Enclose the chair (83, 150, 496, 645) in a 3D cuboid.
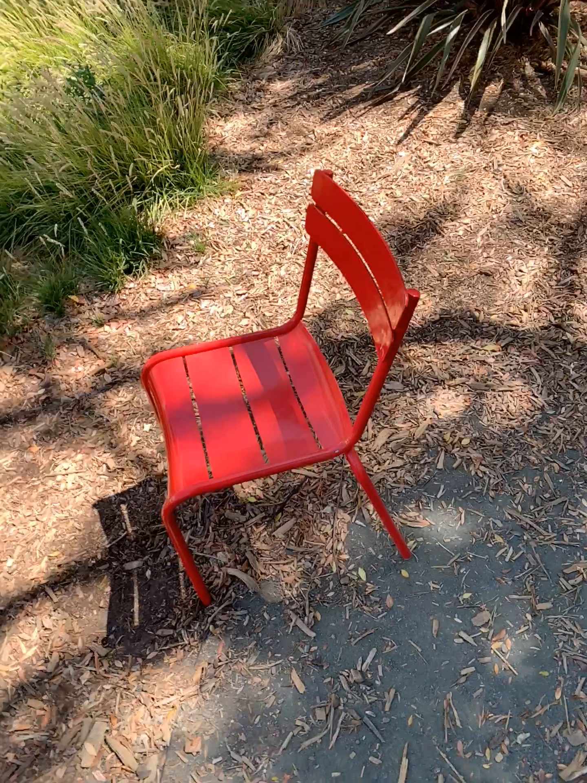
[{"bbox_3d":[-0.059,0.016,1.307,0.570,0.786,0.613,-12,45,-12],"label":"chair"}]
